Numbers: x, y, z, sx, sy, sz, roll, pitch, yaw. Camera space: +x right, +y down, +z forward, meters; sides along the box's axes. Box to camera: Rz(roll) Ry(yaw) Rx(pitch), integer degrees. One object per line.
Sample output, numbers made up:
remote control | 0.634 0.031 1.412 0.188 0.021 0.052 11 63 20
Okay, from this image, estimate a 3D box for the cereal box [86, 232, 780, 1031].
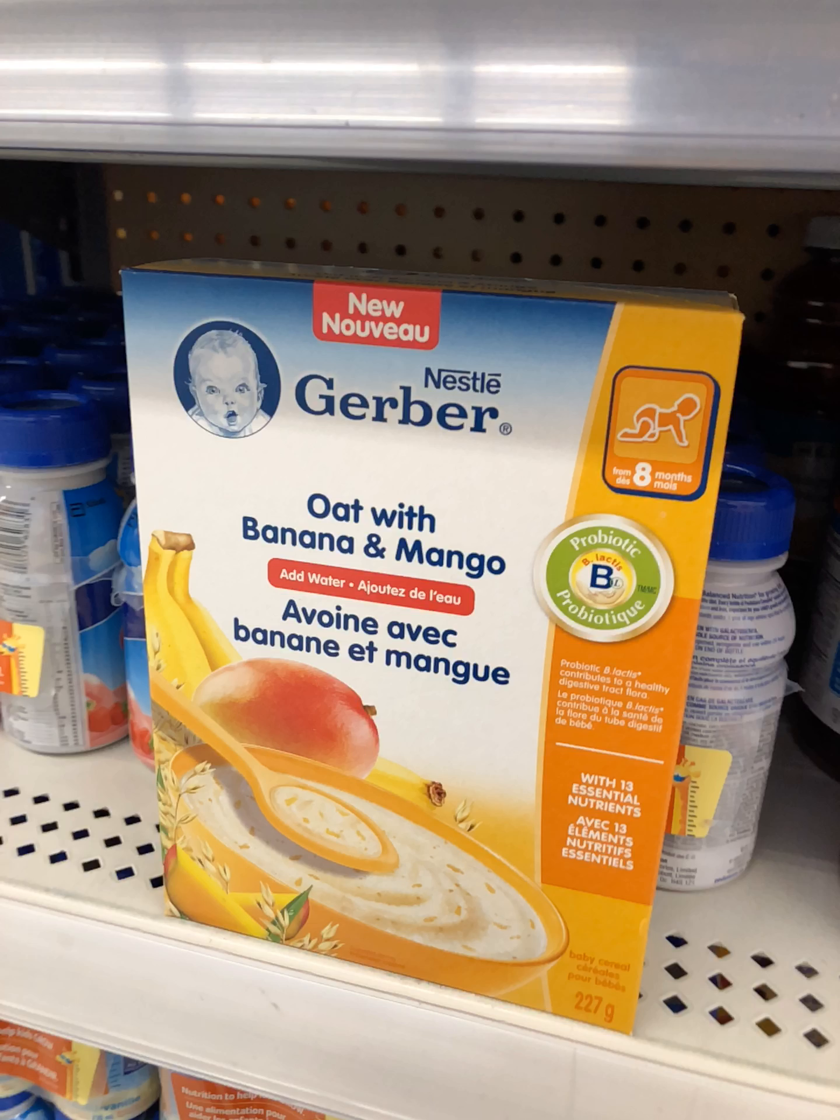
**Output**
cereal box | -0.003 0.019 0.247 0.150 0.189 0.040 9 23 14
